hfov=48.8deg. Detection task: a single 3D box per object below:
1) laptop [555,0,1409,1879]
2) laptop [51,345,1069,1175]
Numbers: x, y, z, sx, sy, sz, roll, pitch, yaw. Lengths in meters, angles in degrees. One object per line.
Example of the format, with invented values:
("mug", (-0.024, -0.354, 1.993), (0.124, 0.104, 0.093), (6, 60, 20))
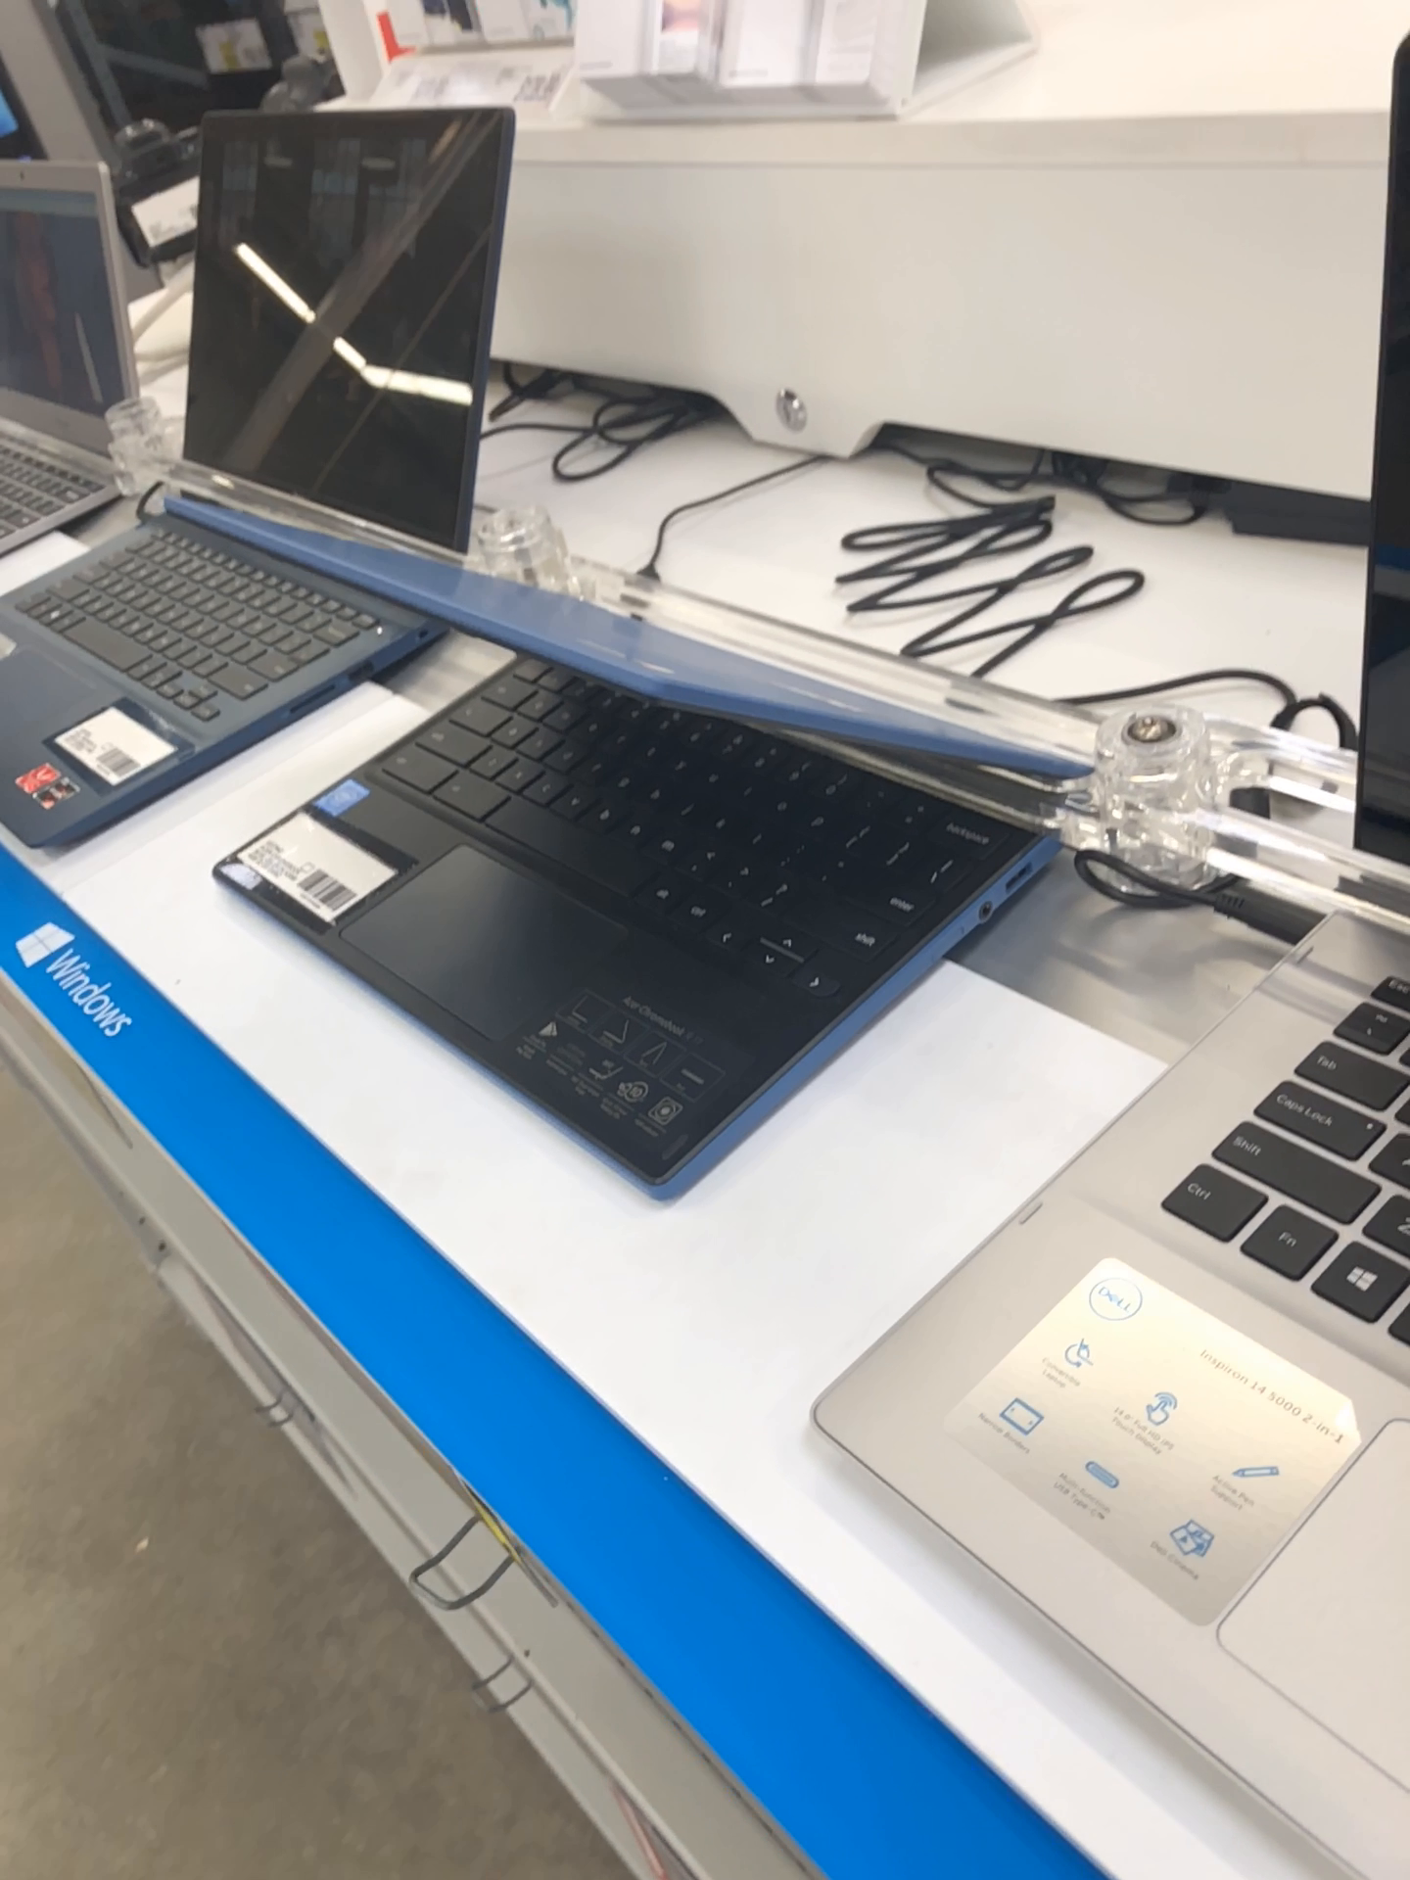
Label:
("laptop", (0.202, 0.023, 0.211), (0.246, 0.216, 0.356), (-37, 41, -22))
("laptop", (-0.055, -0.085, 0.523), (0.184, 0.128, 0.280), (-39, 43, -24))
